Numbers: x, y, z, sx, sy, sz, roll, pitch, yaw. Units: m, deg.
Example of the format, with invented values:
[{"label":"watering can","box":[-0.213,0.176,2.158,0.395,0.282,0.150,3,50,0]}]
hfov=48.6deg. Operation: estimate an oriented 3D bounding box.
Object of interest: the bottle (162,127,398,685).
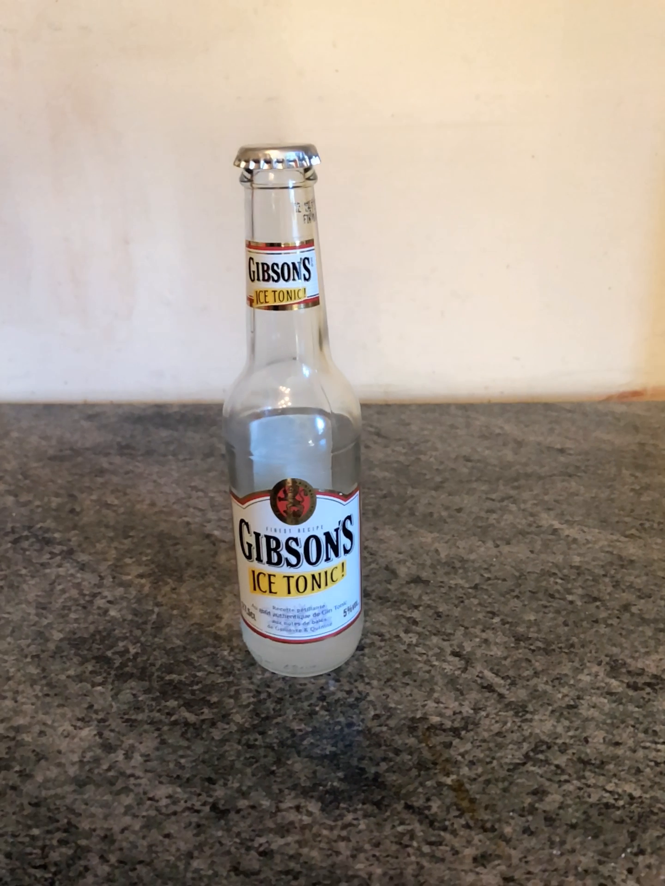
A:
[{"label":"bottle","box":[-0.015,-0.009,0.289,0.070,0.209,0.060,-2,24,-1]}]
